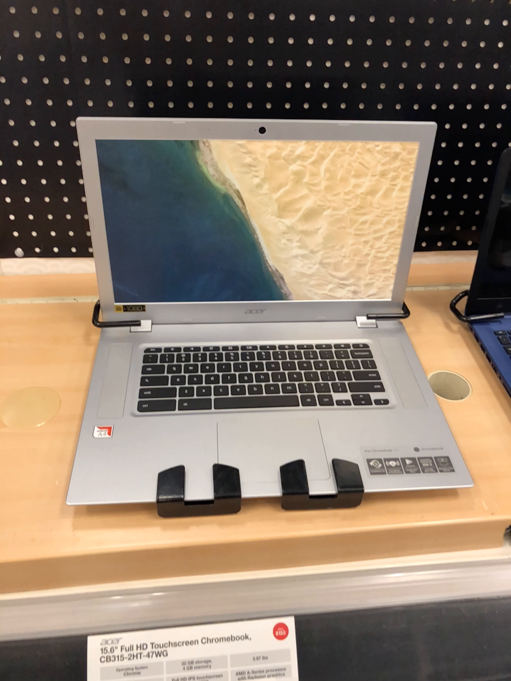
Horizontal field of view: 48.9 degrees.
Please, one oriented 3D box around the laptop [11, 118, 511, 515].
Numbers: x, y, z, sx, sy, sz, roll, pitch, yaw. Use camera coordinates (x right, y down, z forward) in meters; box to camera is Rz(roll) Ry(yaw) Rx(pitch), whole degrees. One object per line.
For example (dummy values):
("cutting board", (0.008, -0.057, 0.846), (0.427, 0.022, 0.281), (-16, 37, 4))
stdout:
("laptop", (0.012, -0.046, 0.557), (0.371, 0.246, 0.287), (-1, 35, -5))
